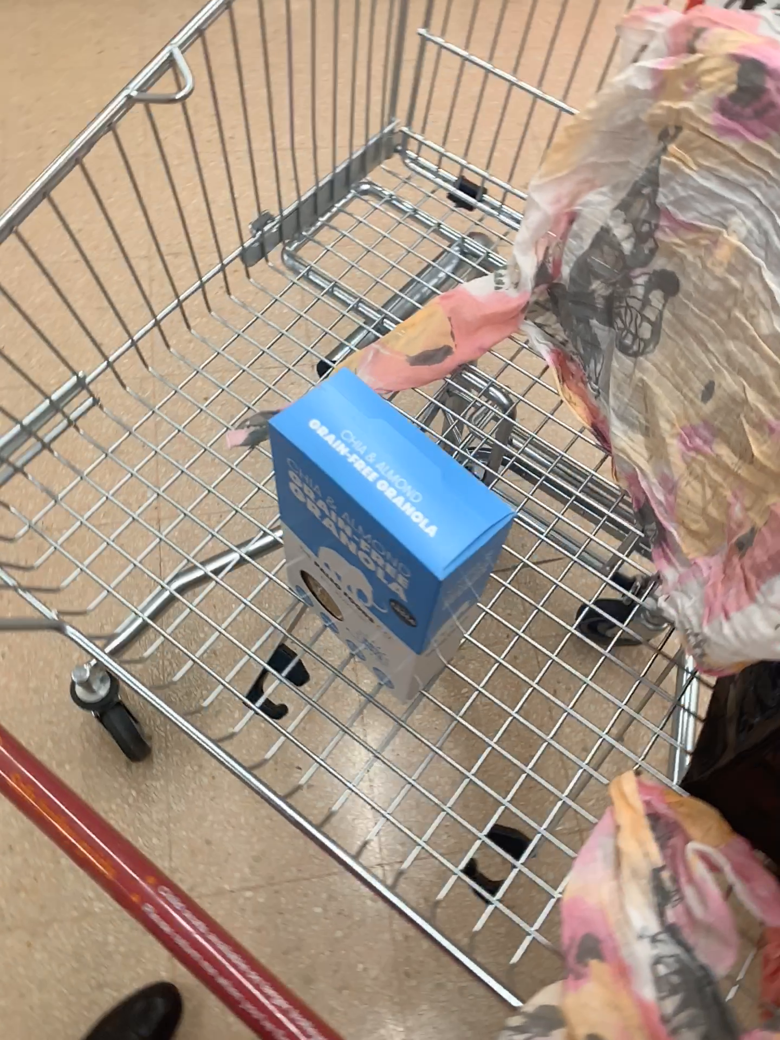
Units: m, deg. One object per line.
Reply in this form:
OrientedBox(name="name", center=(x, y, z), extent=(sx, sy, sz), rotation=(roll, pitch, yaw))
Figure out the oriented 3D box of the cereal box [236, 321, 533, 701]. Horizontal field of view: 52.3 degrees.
OrientedBox(name="cereal box", center=(-0.014, 0.009, 0.470), extent=(0.140, 0.209, 0.060), rotation=(43, 67, 15))
